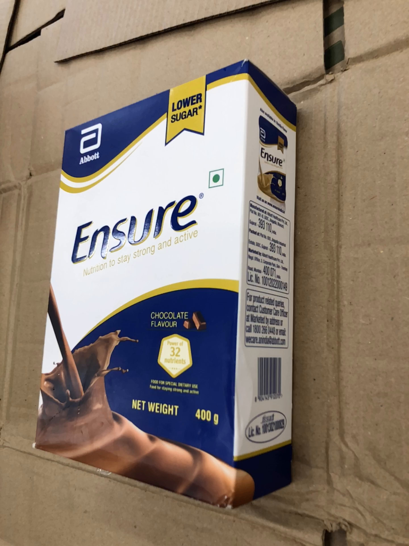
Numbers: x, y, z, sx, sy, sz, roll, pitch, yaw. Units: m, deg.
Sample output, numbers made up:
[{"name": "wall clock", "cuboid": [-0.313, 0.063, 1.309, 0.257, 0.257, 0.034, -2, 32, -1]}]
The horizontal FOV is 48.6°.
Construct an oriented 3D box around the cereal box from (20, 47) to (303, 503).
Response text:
[{"name": "cereal box", "cuboid": [-0.026, 0.002, 0.239, 0.140, 0.050, 0.180, -4, 78, 38]}]
